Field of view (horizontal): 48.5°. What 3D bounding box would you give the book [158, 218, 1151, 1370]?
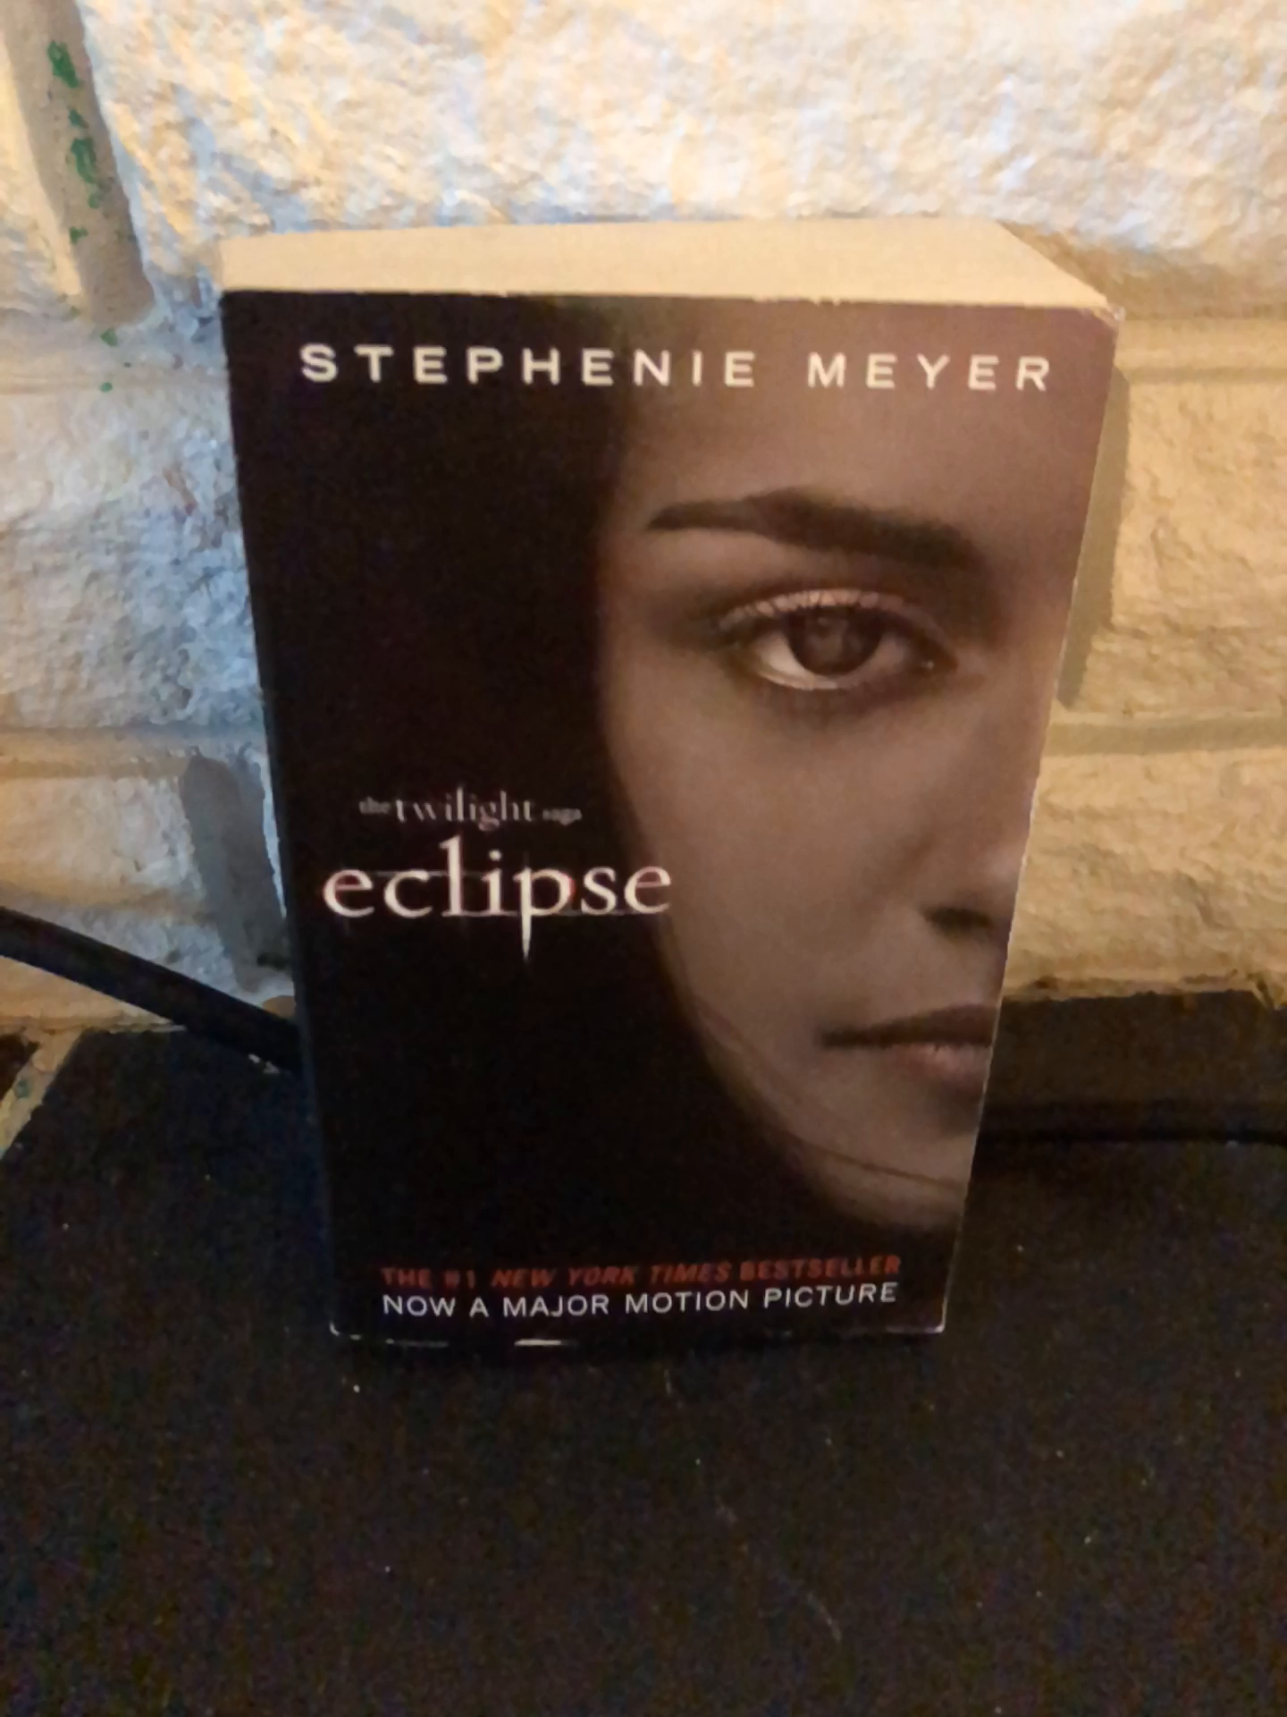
[{"bbox_3d":[0.001,0.003,0.220,0.106,0.181,0.042,1,34,1],"label":"book"}]
